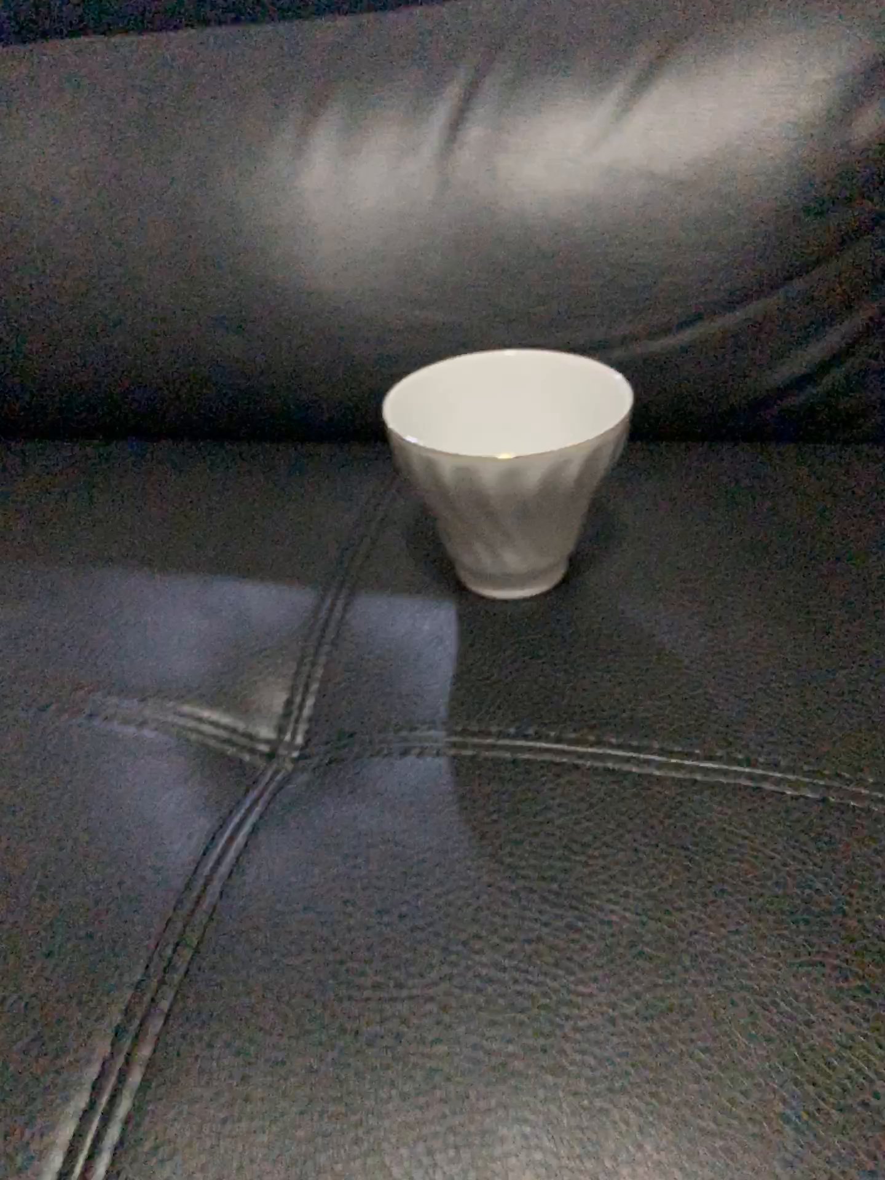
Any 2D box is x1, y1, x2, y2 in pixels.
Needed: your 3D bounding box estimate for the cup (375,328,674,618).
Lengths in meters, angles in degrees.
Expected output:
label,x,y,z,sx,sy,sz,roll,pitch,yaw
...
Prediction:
label,x,y,z,sx,sy,sz,roll,pitch,yaw
cup,0.023,-0.050,0.351,0.093,0.059,0.114,-4,33,-2
